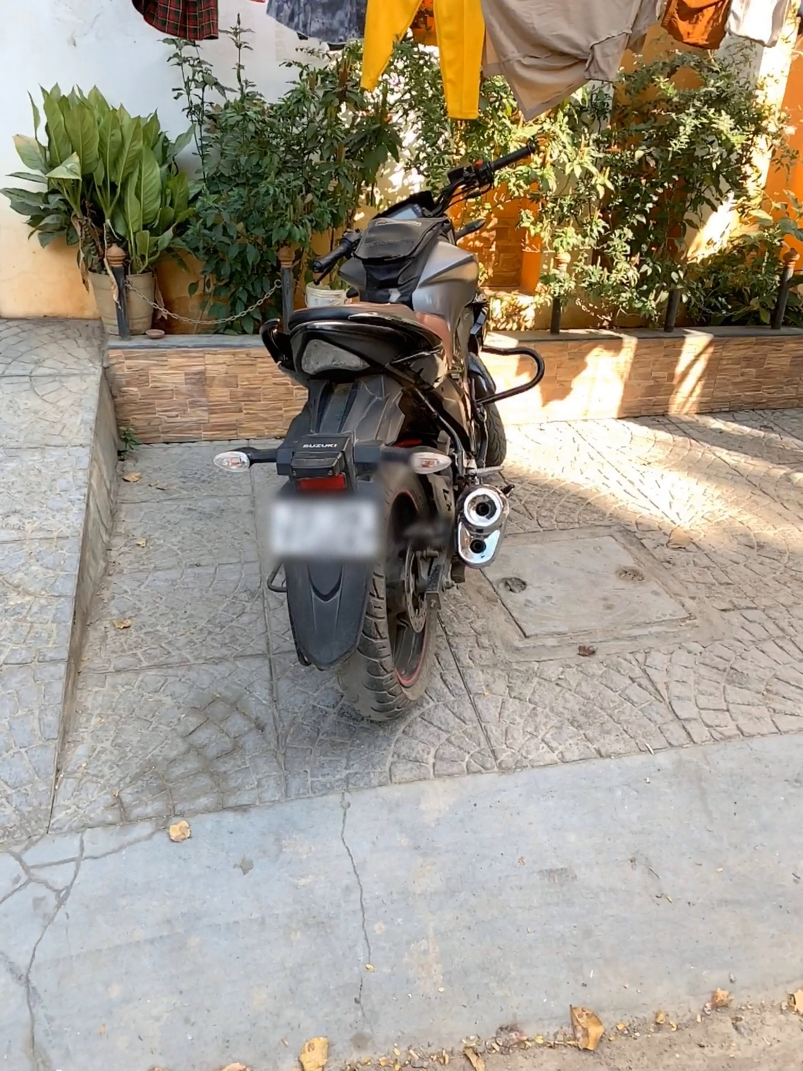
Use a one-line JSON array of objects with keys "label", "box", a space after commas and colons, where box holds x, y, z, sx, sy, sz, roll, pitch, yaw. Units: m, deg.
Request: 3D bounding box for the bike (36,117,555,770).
[{"label": "bike", "box": [-0.167, -0.456, 2.208, 0.809, 1.140, 1.631, 3, 28, 2]}]
